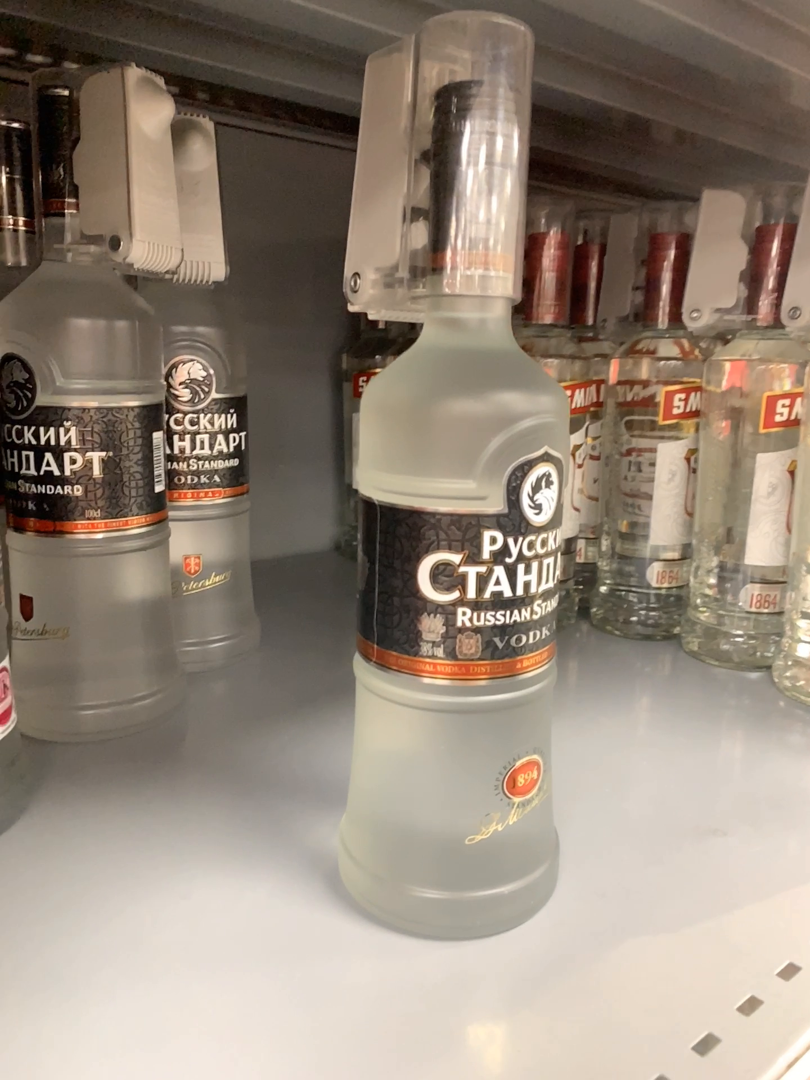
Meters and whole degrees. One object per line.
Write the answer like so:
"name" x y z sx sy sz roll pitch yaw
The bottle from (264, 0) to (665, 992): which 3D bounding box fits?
"bottle" 0.014 -0.014 0.292 0.092 0.289 0.088 1 12 0
